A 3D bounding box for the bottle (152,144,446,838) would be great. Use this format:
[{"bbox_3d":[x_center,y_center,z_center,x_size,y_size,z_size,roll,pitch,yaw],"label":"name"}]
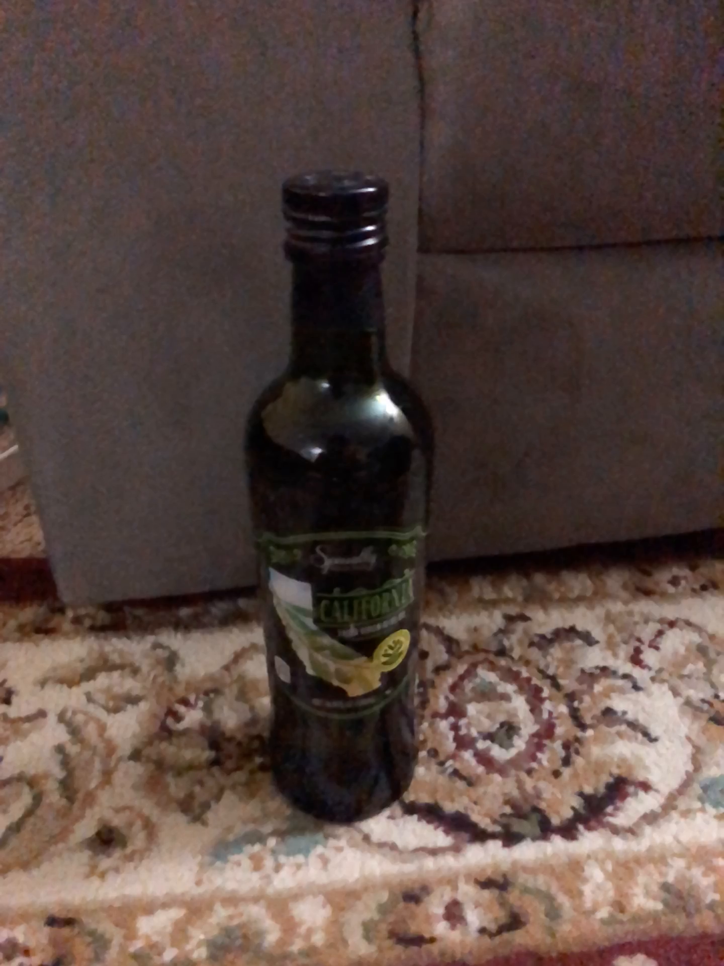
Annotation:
[{"bbox_3d":[-0.016,0.015,0.311,0.080,0.259,0.070,-6,29,-6],"label":"bottle"}]
